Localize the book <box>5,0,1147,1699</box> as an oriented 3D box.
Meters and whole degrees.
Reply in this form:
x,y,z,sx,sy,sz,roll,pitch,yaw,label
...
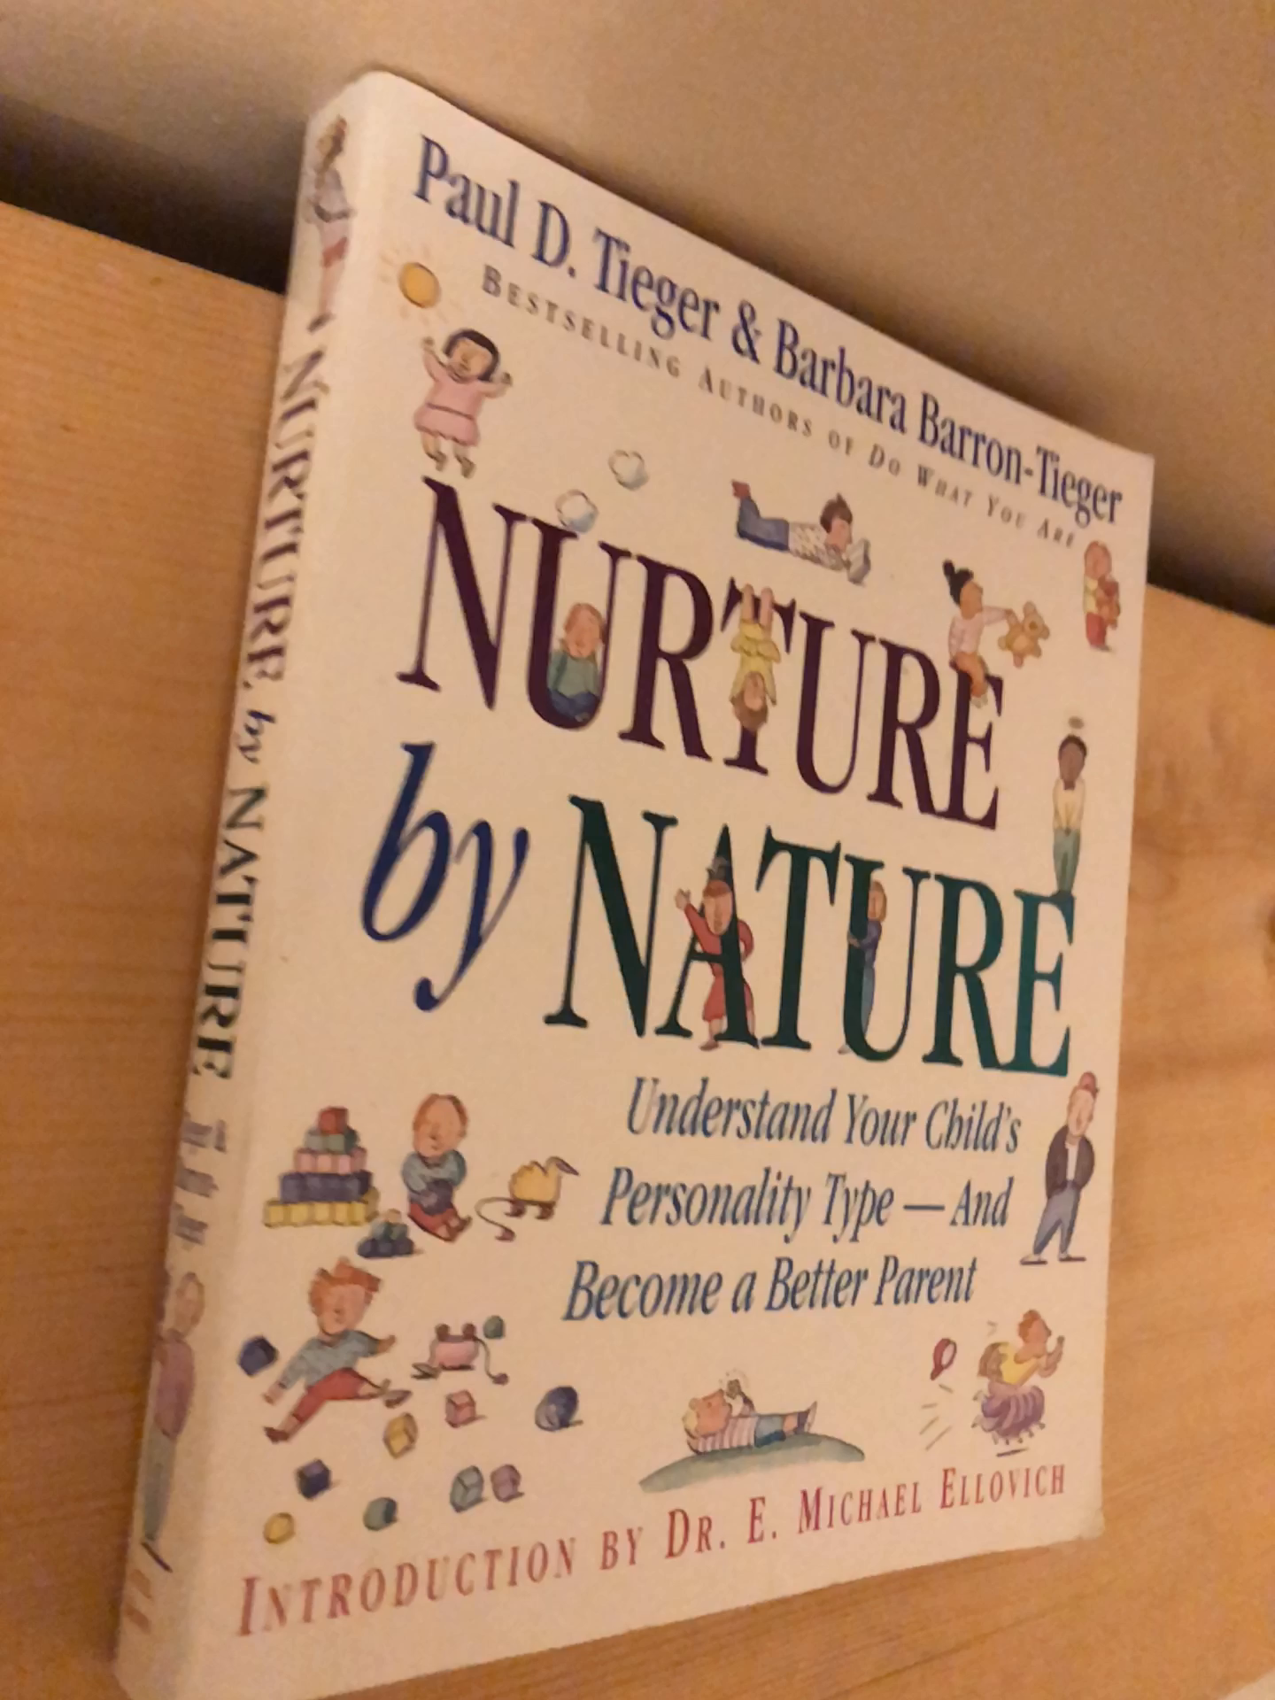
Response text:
x,y,z,sx,sy,sz,roll,pitch,yaw,label
0.014,0.010,0.258,0.201,0.040,0.250,11,79,-36,book
